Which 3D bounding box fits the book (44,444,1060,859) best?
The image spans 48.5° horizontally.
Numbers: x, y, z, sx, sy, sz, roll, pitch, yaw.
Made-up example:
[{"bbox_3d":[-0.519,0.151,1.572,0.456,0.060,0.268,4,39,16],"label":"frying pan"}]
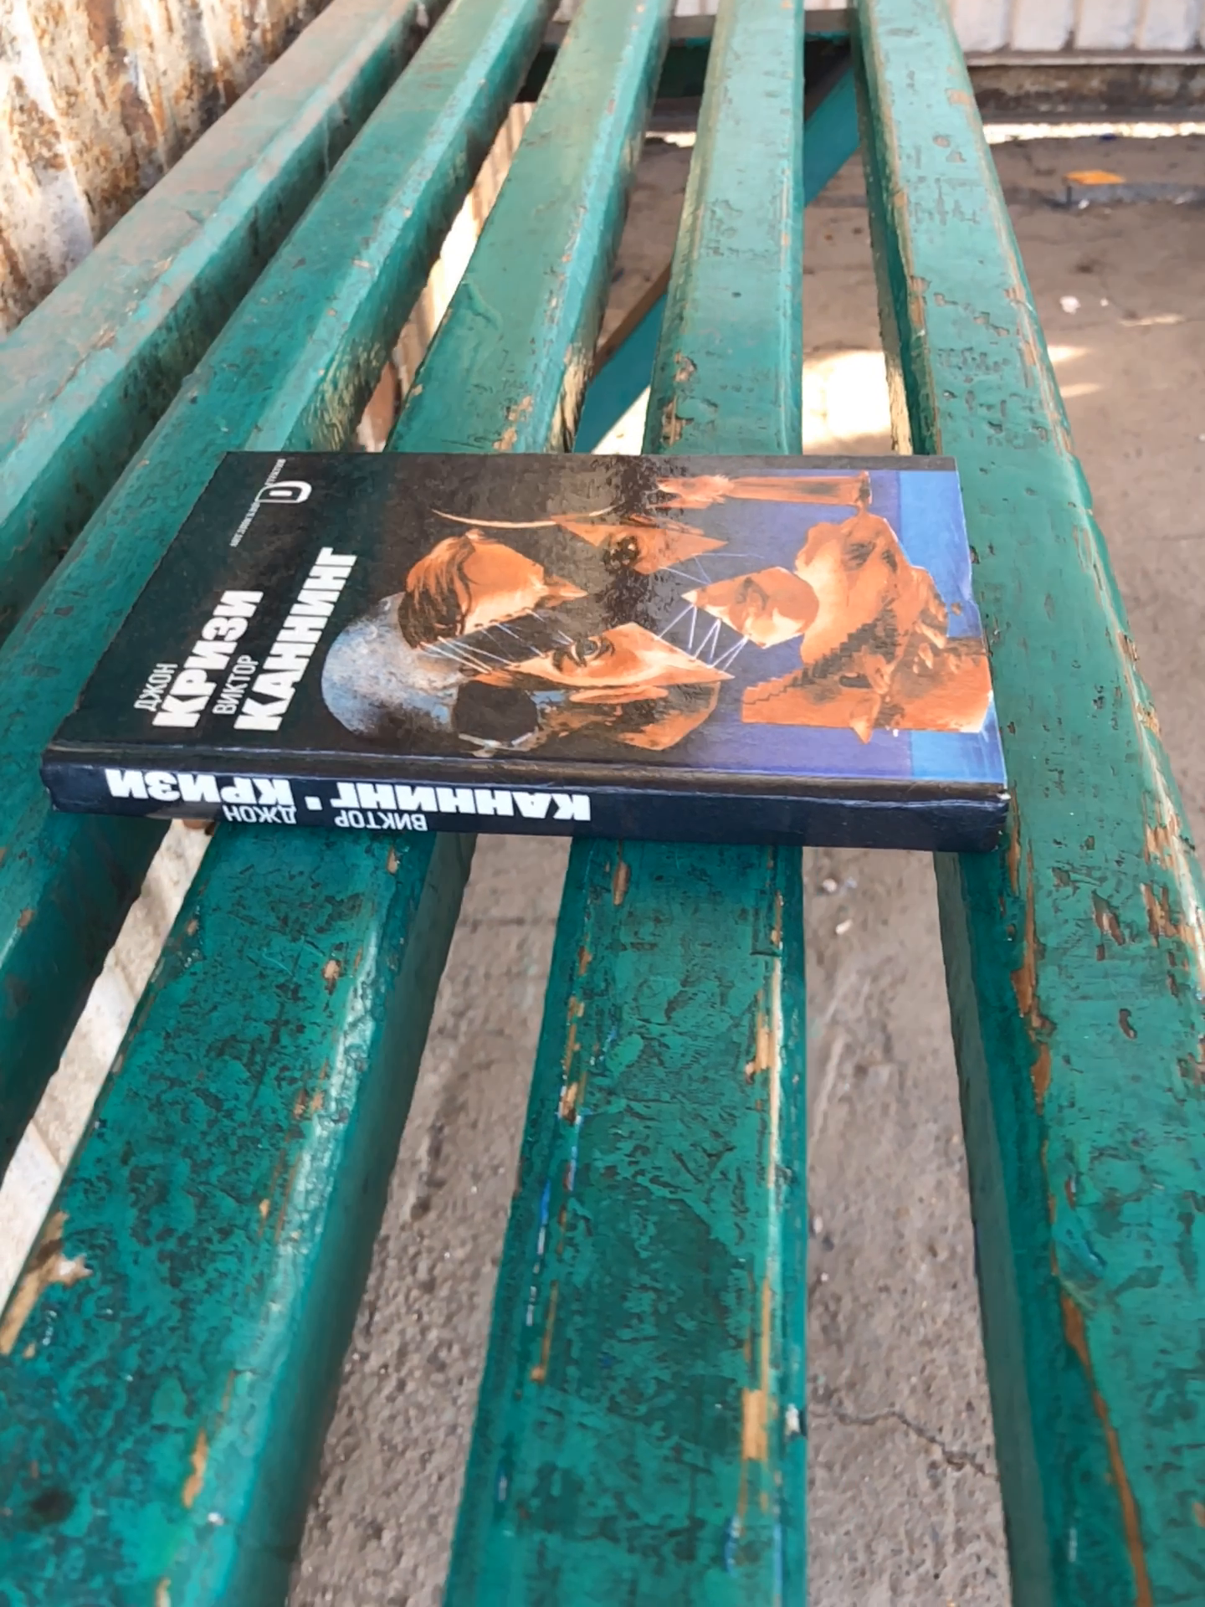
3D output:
[{"bbox_3d":[-0.007,-0.046,0.331,0.211,0.020,0.135,2,44,7],"label":"book"}]
